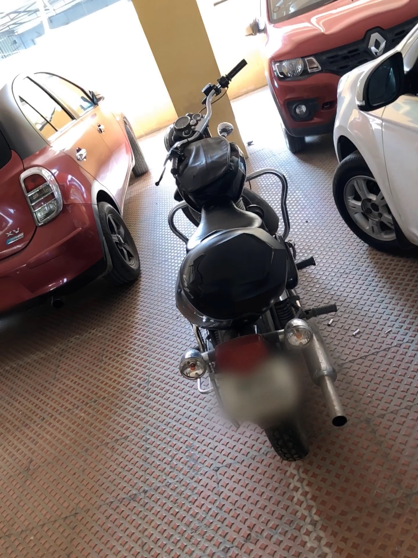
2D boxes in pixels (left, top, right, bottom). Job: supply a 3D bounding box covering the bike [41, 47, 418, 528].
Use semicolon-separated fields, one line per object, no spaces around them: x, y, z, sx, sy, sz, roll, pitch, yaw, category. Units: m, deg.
-0.044;-0.167;2.025;0.691;1.217;1.793;-24;33;1;bike
